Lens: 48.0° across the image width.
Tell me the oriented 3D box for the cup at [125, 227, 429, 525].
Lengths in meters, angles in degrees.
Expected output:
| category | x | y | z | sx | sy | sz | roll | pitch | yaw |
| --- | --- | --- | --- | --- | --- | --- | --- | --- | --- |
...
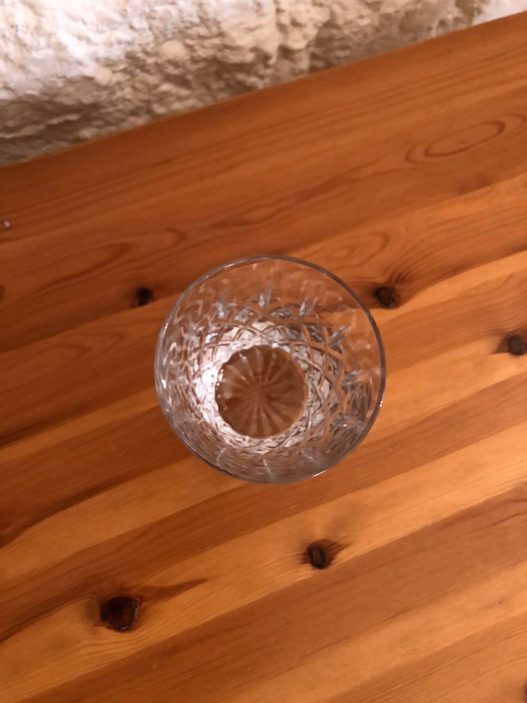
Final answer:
| category | x | y | z | sx | sy | sz | roll | pitch | yaw |
| --- | --- | --- | --- | --- | --- | --- | --- | --- | --- |
| cup | 0.001 | 0.012 | 0.223 | 0.077 | 0.068 | 0.076 | 1 | 78 | -5 |
